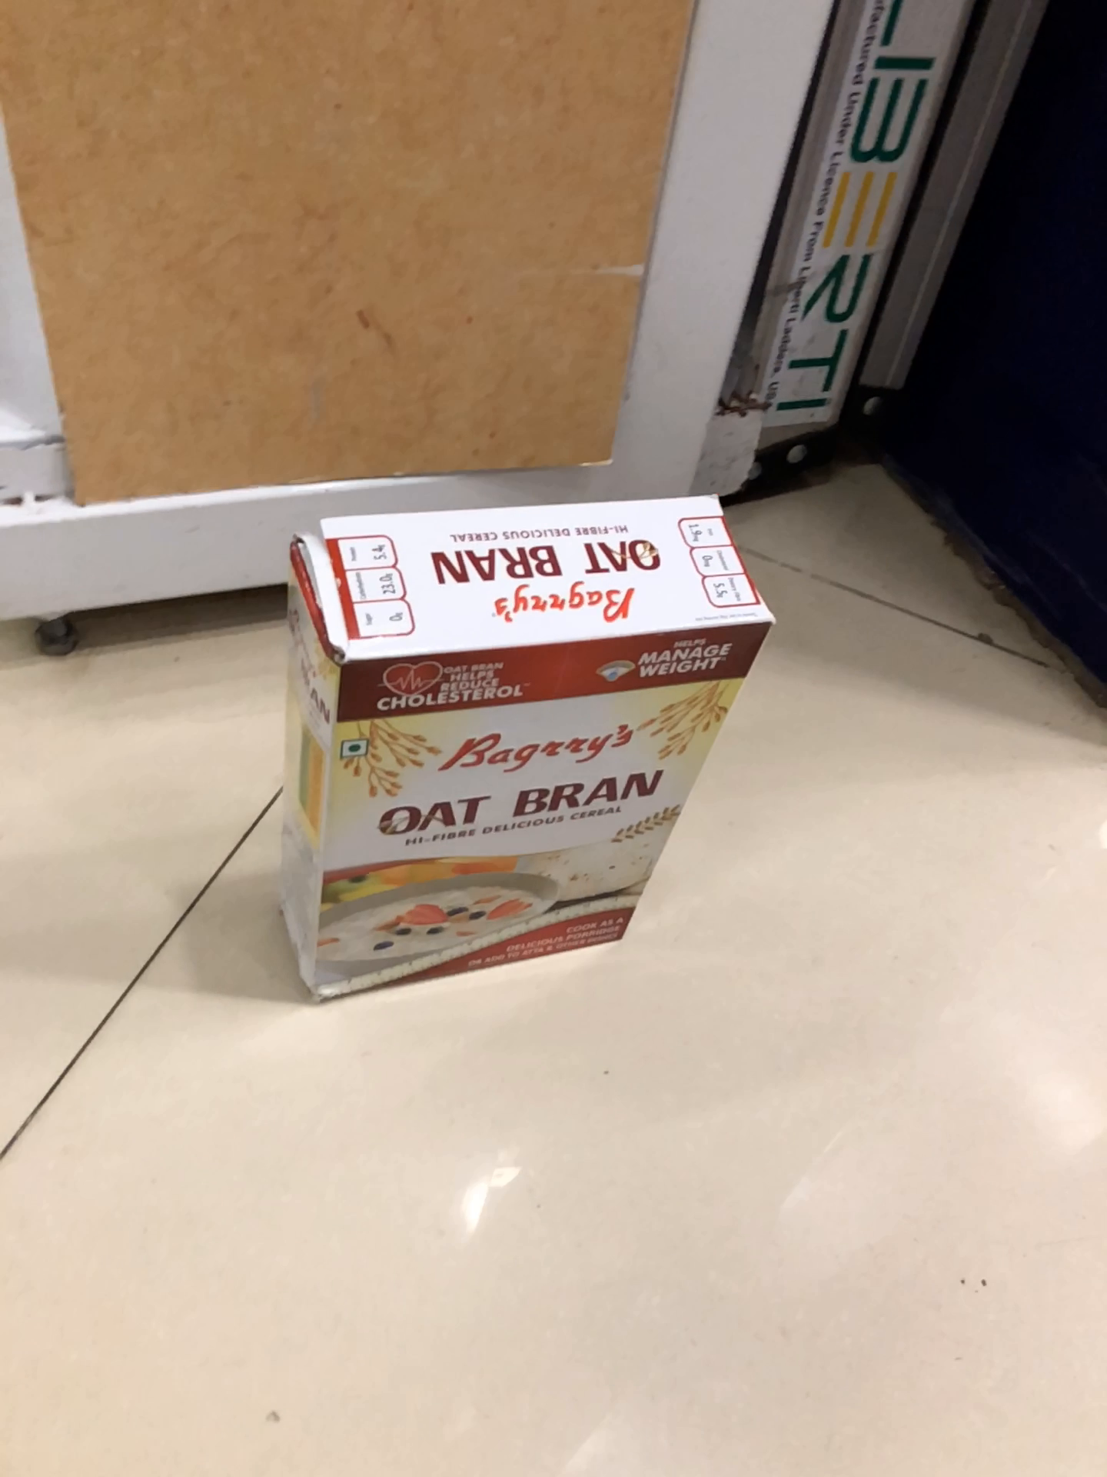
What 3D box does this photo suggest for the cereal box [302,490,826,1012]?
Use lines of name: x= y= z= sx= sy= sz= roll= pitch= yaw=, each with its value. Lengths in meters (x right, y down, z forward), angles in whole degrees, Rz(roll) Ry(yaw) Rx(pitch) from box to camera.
cereal box: x=-0.012 y=0.013 z=0.447 sx=0.150 sy=0.209 sz=0.060 roll=-6 pitch=52 yaw=-15
